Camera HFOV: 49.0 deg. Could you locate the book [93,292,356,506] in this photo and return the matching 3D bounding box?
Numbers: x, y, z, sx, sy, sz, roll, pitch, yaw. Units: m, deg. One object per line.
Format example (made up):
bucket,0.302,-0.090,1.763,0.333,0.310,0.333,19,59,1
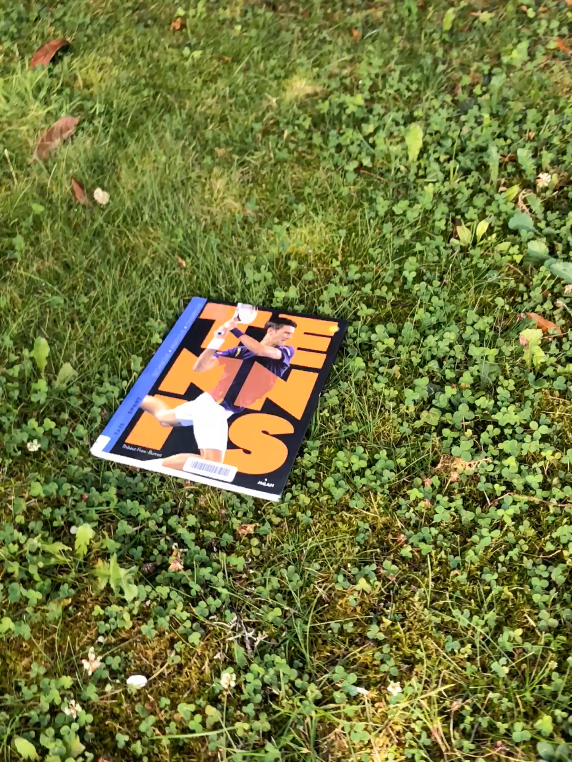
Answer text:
book,-0.053,0.003,0.659,0.198,0.016,0.241,12,49,14
